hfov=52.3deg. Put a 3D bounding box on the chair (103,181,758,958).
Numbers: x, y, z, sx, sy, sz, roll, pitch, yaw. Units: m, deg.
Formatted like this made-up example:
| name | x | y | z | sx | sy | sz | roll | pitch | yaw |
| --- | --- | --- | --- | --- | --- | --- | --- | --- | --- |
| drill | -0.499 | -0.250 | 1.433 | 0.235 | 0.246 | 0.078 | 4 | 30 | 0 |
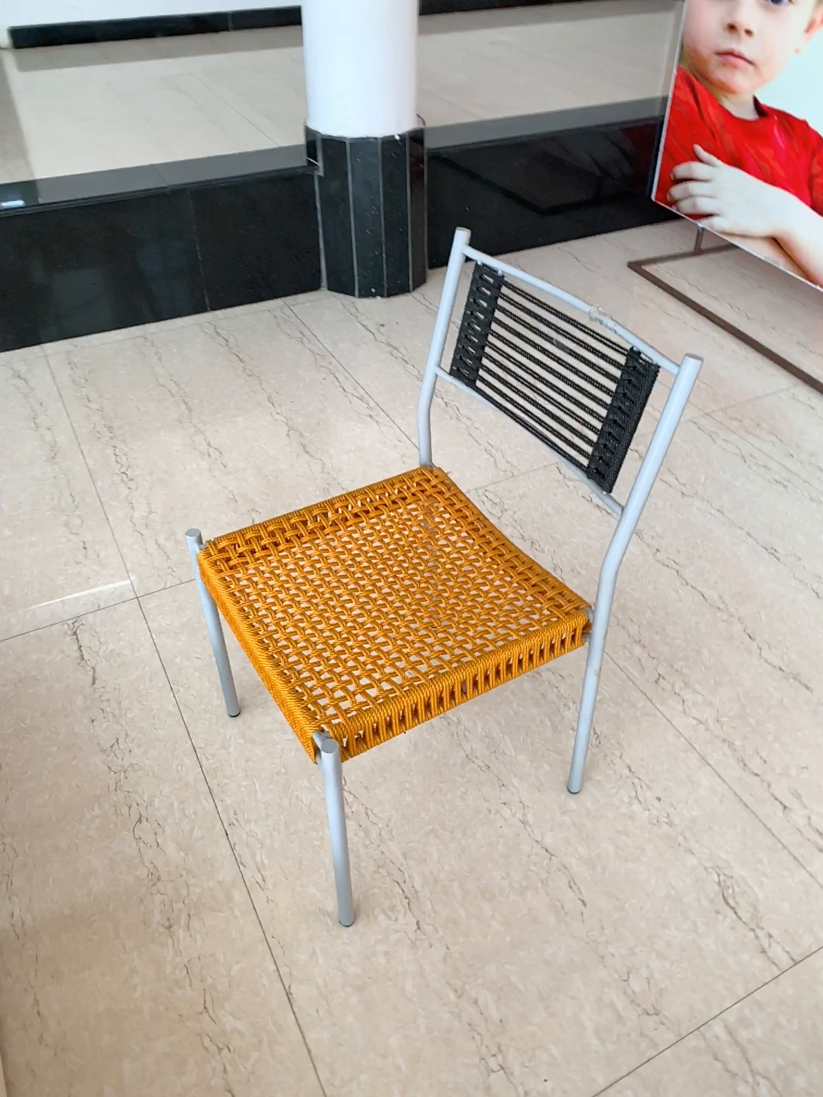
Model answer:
| name | x | y | z | sx | sy | sz | roll | pitch | yaw |
| --- | --- | --- | --- | --- | --- | --- | --- | --- | --- |
| chair | -0.009 | 0.023 | 1.159 | 0.511 | 0.803 | 0.524 | -20 | 44 | -22 |
